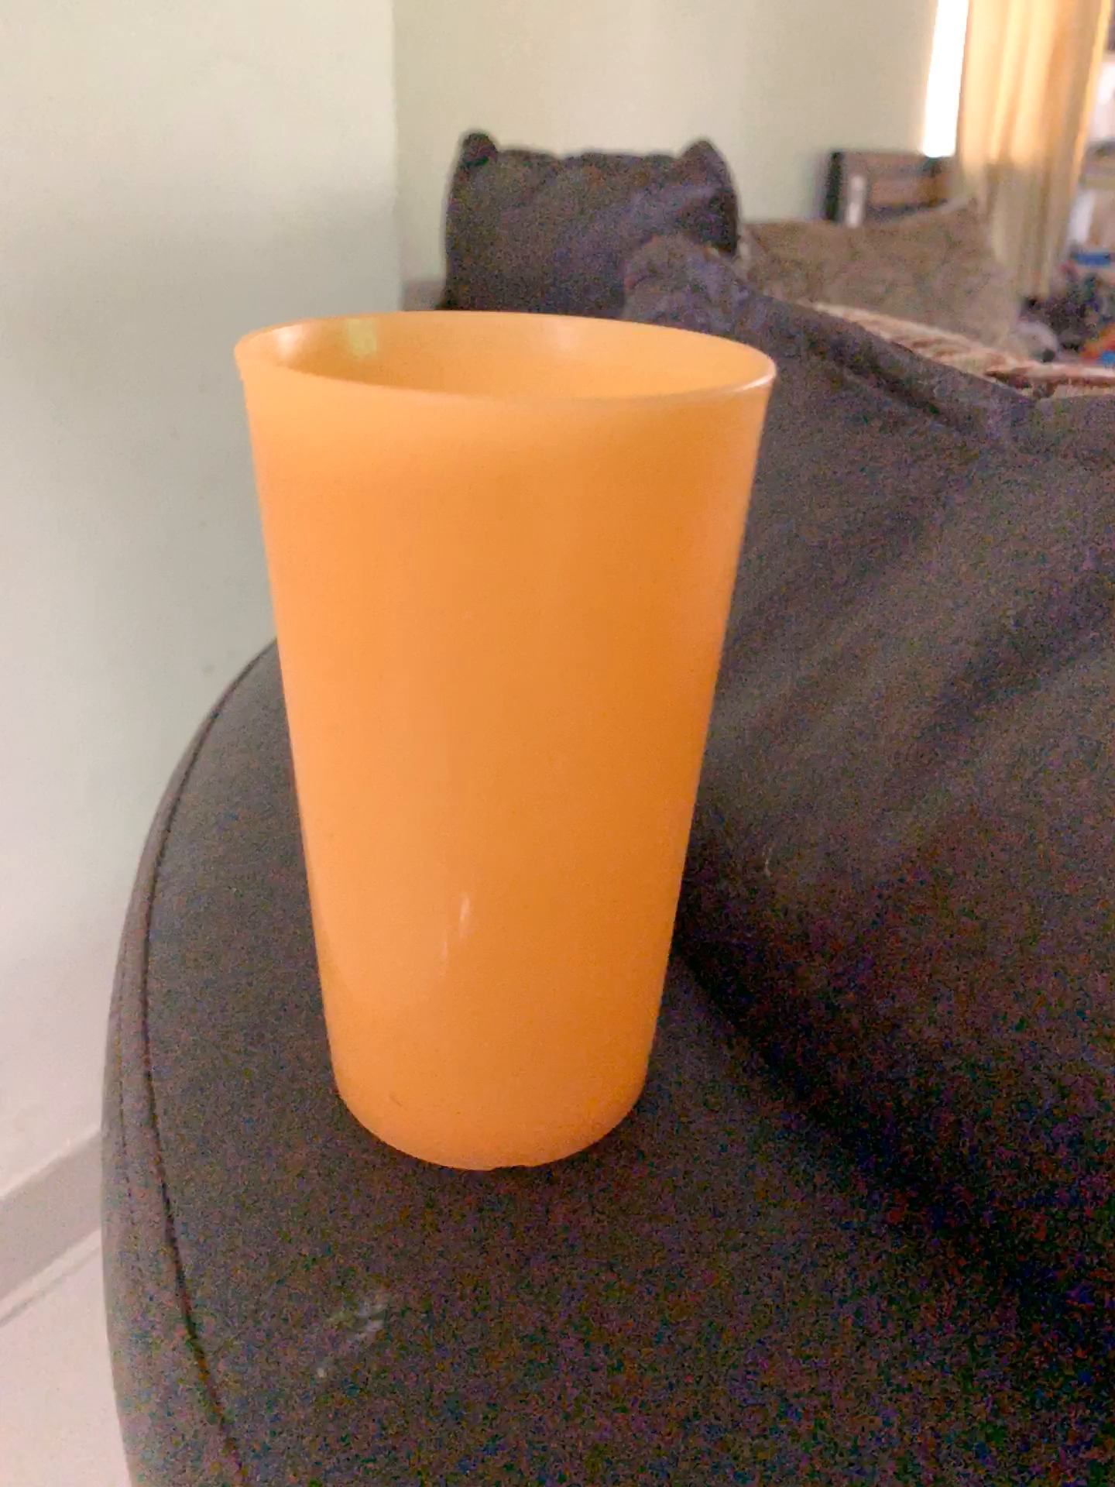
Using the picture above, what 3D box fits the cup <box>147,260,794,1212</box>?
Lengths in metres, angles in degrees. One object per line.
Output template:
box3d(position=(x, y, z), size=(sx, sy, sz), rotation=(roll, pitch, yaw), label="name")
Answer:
box3d(position=(-0.007, -0.004, 0.184), size=(0.070, 0.129, 0.071), rotation=(0, 26, 0), label="cup")

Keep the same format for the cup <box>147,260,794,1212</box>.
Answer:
box3d(position=(-0.007, -0.004, 0.184), size=(0.070, 0.129, 0.071), rotation=(0, 26, 0), label="cup")
